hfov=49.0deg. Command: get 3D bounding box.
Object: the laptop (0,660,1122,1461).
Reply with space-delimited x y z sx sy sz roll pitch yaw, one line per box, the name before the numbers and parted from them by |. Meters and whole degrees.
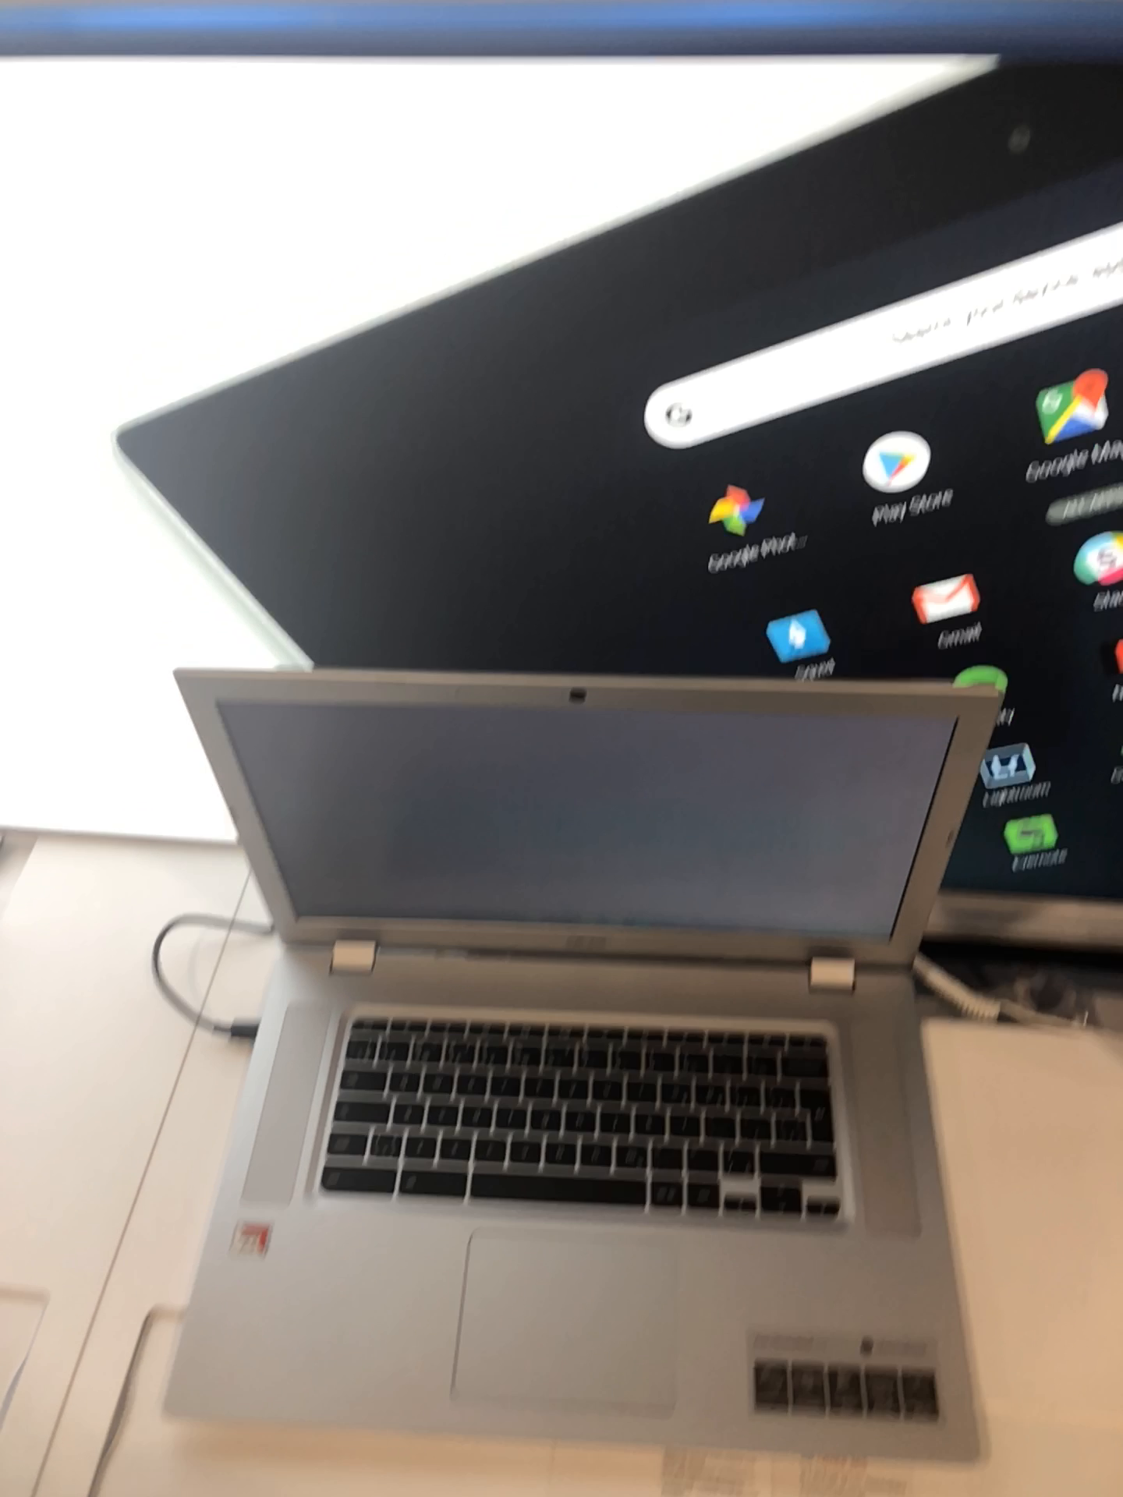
laptop | 0.003 0.141 0.570 0.377 0.250 0.265 1 48 4
